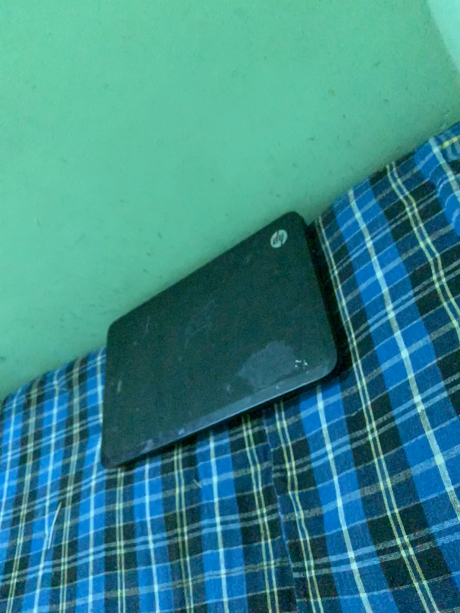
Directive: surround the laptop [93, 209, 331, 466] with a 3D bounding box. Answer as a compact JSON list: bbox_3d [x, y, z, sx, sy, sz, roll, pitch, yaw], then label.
[{"bbox_3d":[-0.050,0.046,0.613,0.347,0.018,0.217,-29,48,27],"label":"laptop"}]
